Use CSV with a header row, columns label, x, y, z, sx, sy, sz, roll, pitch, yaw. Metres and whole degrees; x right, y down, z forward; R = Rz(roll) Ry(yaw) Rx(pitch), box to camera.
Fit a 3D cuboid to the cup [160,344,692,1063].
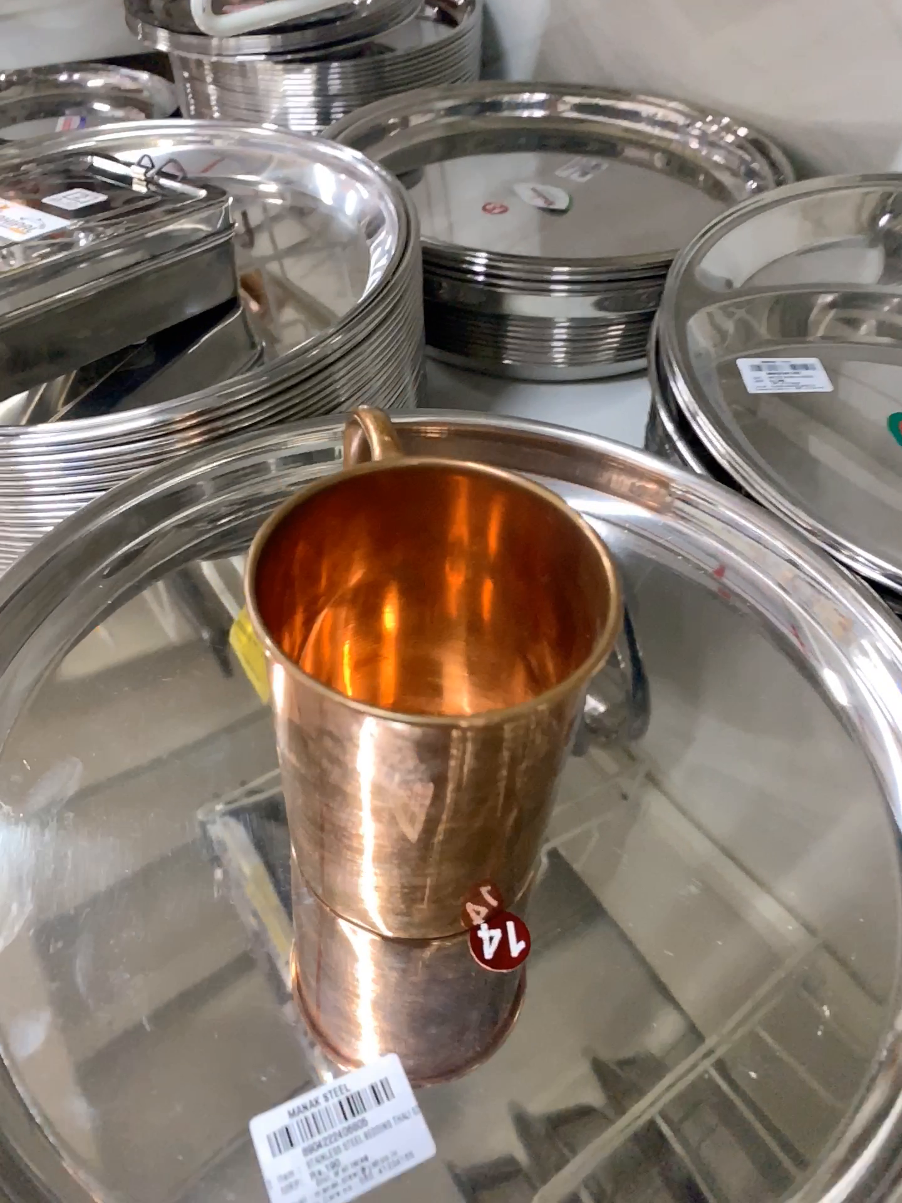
label,x,y,z,sx,sy,sz,roll,pitch,yaw
cup,-0.015,0.025,0.249,0.080,0.119,0.131,-15,49,-13
